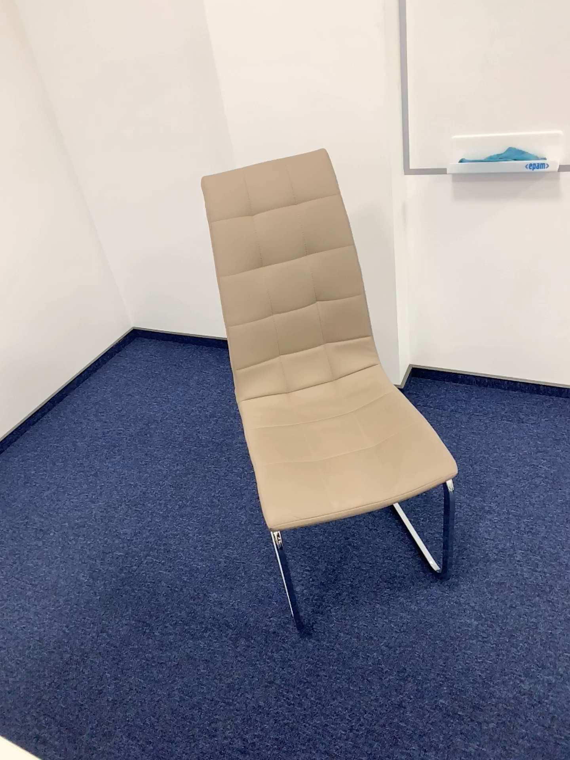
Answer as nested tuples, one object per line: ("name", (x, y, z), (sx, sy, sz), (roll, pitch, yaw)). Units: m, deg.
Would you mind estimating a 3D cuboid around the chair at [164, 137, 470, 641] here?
("chair", (0.085, 0.038, 1.376), (0.440, 0.985, 0.533), (-16, 35, -8))
